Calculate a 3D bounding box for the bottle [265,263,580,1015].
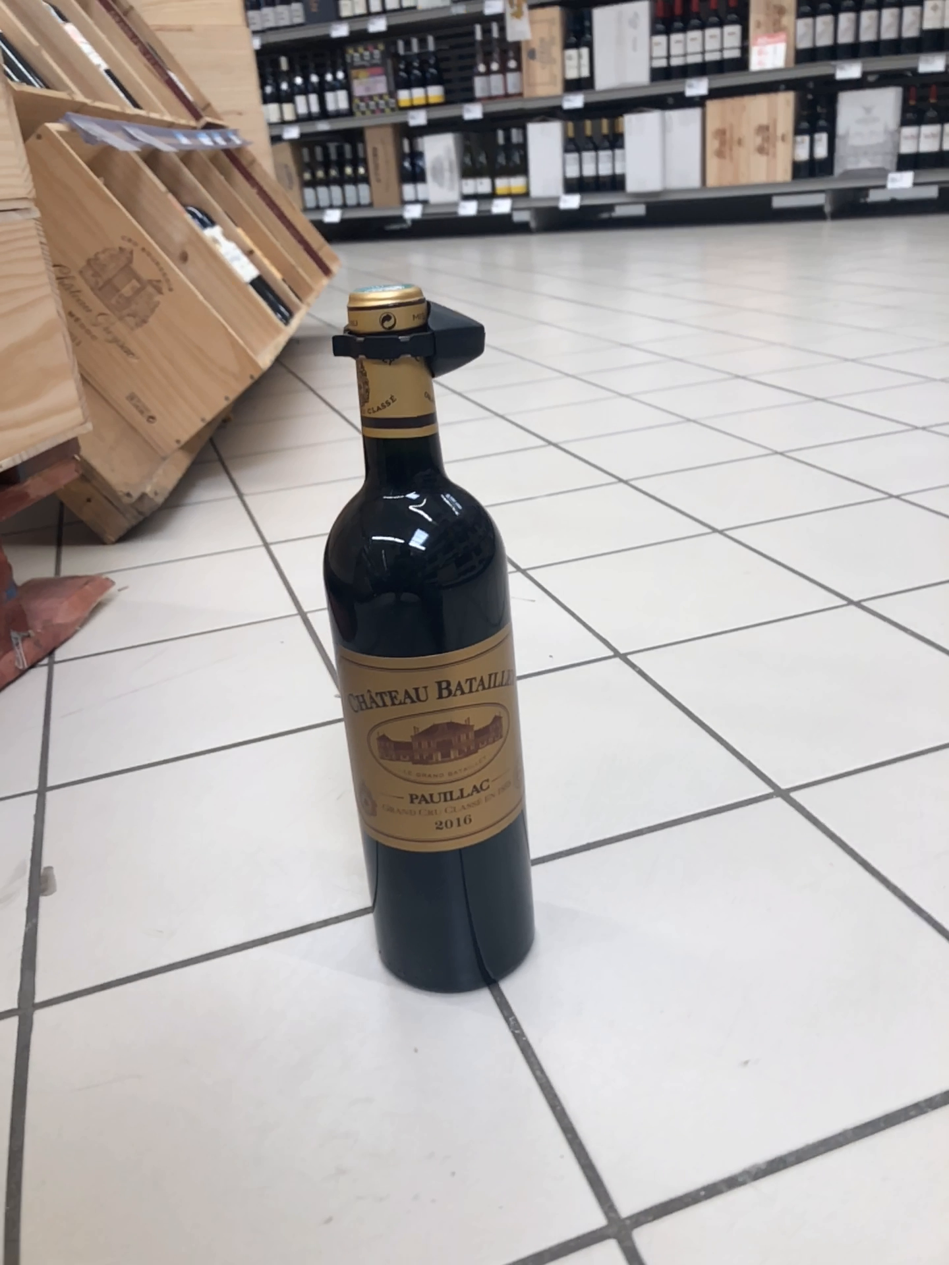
[{"bbox_3d":[-0.018,0.006,0.432,0.090,0.289,0.090,-4,23,2],"label":"bottle"}]
